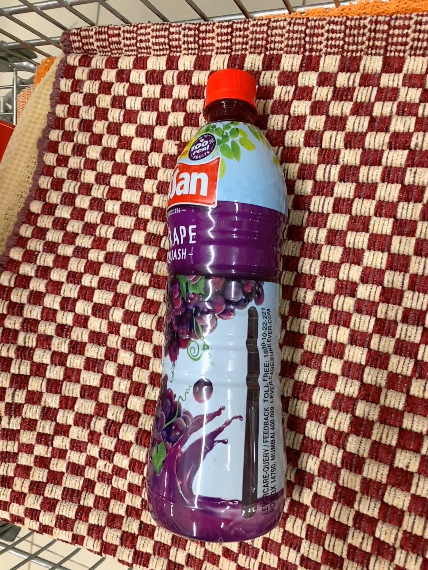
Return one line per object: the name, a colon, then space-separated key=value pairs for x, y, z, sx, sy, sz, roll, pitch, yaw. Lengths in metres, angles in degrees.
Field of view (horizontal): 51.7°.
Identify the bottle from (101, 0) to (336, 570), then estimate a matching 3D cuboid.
bottle: x=-0.001 y=-0.003 z=0.228 sx=0.080 sy=0.080 sz=0.240 roll=5 pitch=86 yaw=-26
